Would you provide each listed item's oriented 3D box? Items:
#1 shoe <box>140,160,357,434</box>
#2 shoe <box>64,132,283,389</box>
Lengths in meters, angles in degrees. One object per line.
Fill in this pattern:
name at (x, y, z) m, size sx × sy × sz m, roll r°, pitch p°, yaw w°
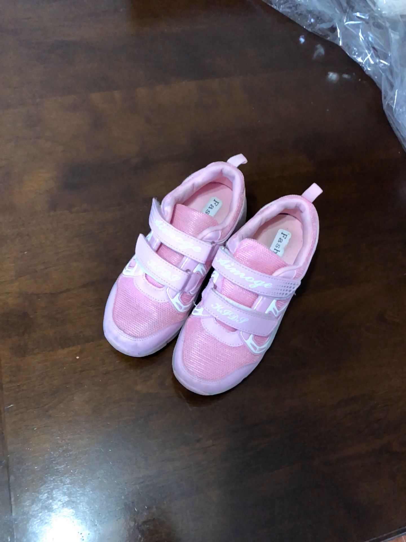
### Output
shoe at (0.052, 0.023, 0.493) m, size 0.110 × 0.110 × 0.260 m, roll 29°, pitch 64°, yaw 9°
shoe at (-0.024, -0.015, 0.499) m, size 0.100 × 0.110 × 0.250 m, roll 30°, pitch 64°, yaw 9°
